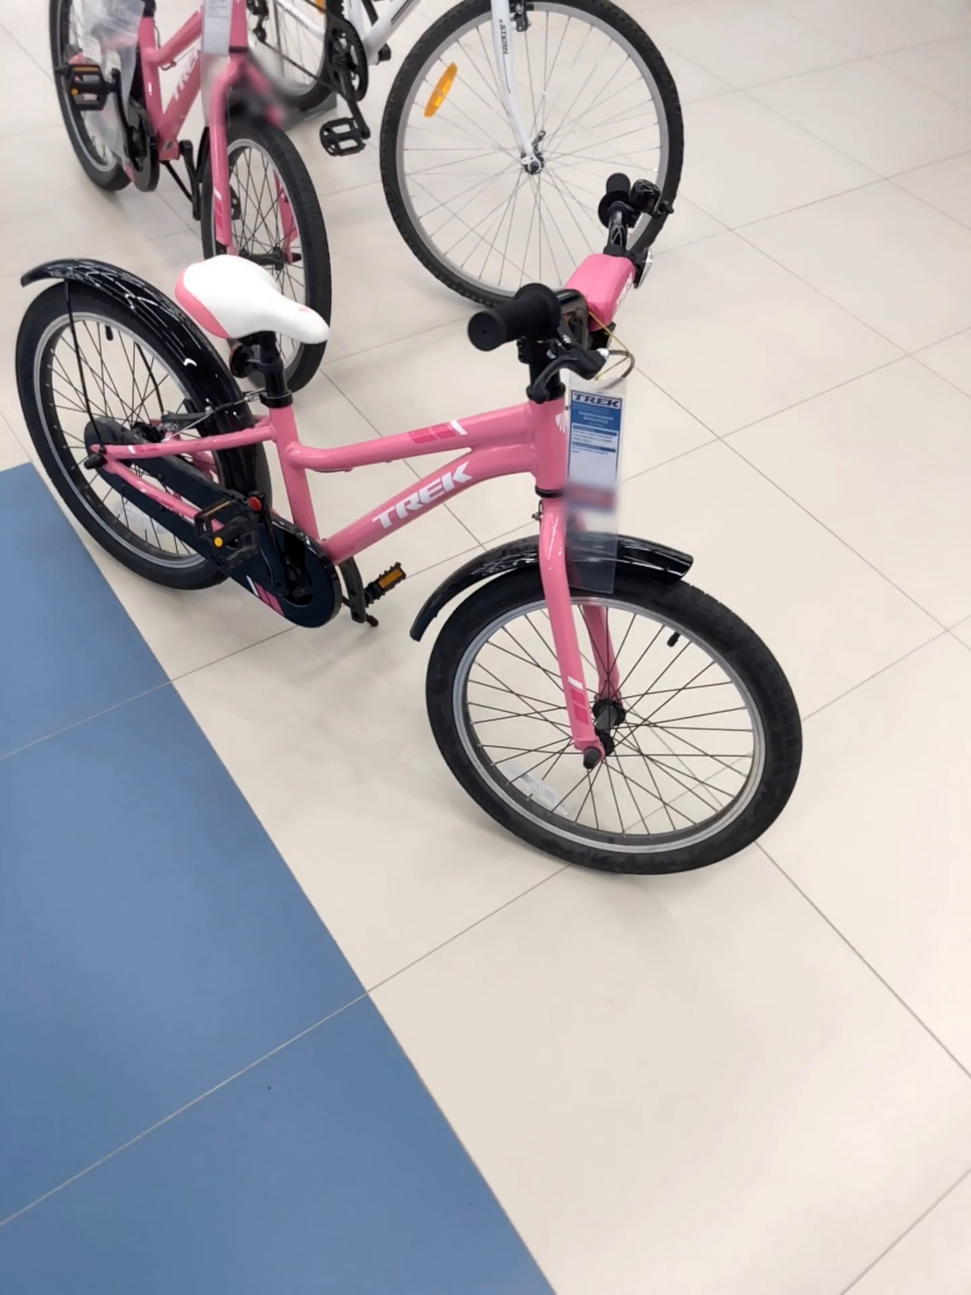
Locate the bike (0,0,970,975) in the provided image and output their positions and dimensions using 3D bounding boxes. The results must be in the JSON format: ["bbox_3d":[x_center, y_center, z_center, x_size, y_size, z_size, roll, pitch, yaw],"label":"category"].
[{"bbox_3d":[-0.120,-0.307,1.336,1.297,0.835,0.557,25,51,21],"label":"bike"}]
